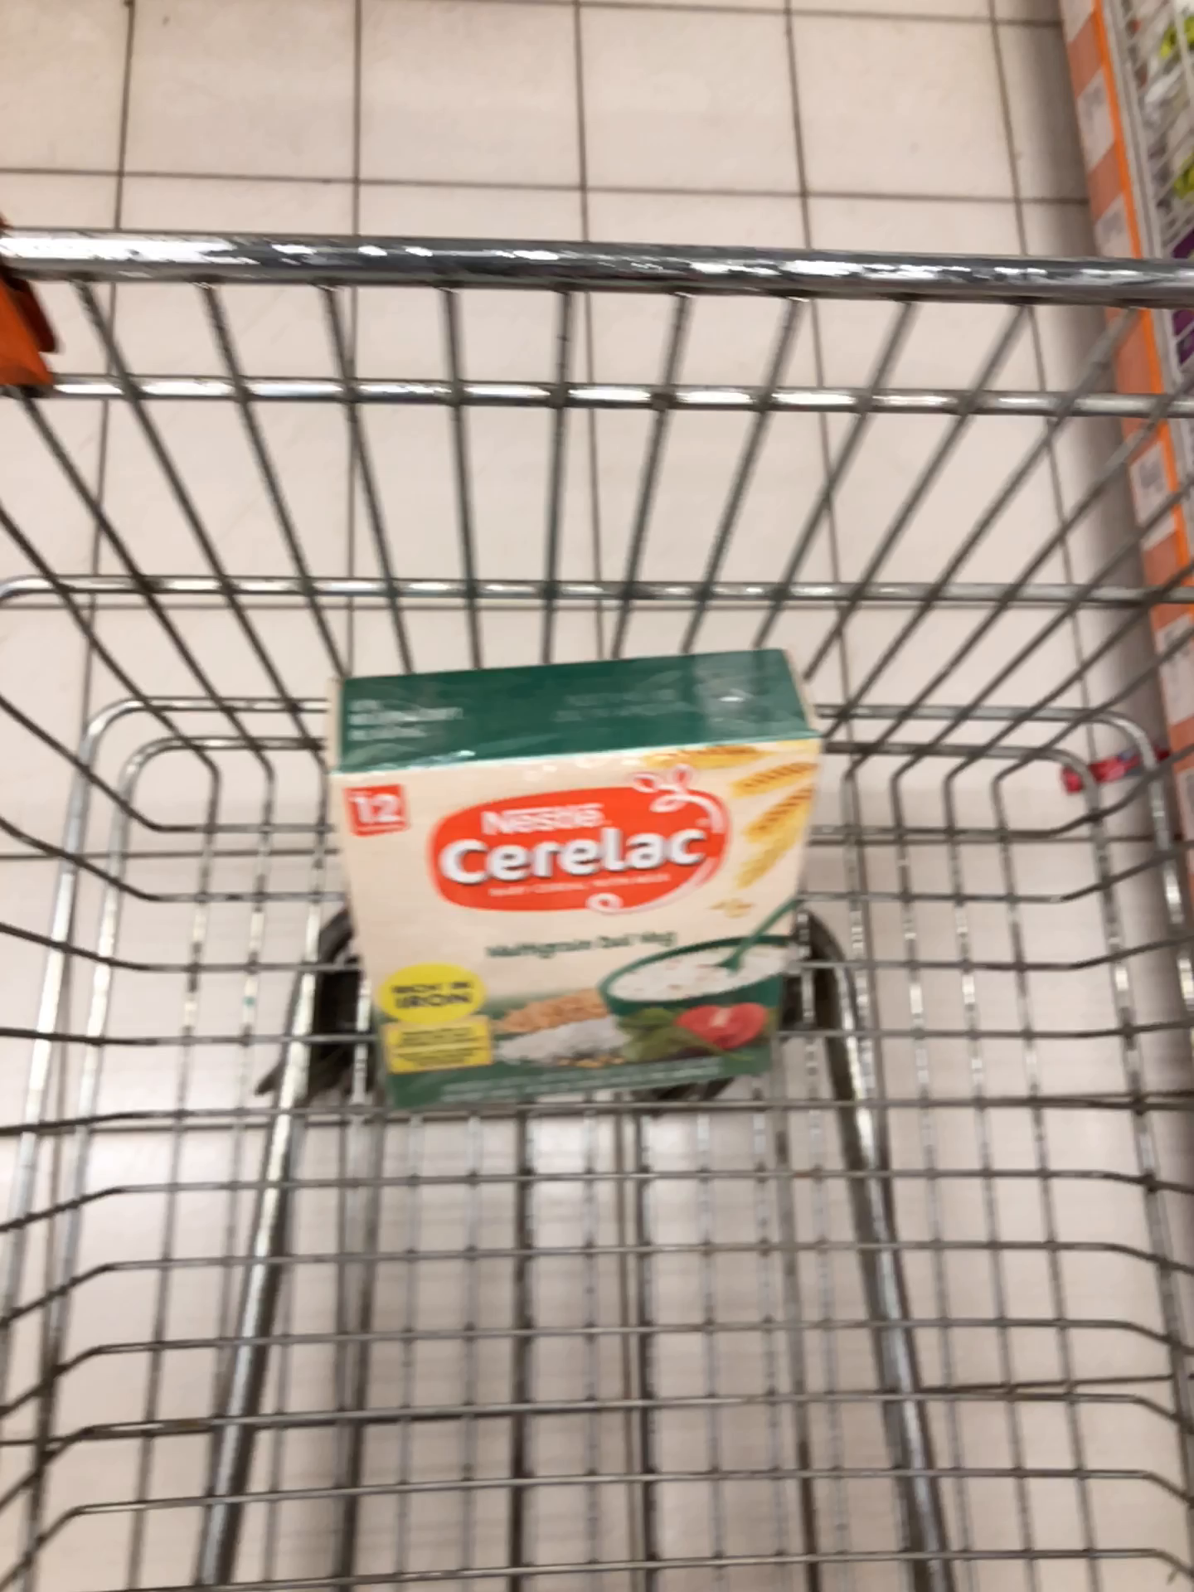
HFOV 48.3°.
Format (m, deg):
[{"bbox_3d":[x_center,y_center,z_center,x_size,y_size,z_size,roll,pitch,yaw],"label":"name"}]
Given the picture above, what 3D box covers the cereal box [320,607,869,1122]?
[{"bbox_3d":[-0.003,0.032,0.468,0.160,0.189,0.050,-5,44,-6],"label":"cereal box"}]
